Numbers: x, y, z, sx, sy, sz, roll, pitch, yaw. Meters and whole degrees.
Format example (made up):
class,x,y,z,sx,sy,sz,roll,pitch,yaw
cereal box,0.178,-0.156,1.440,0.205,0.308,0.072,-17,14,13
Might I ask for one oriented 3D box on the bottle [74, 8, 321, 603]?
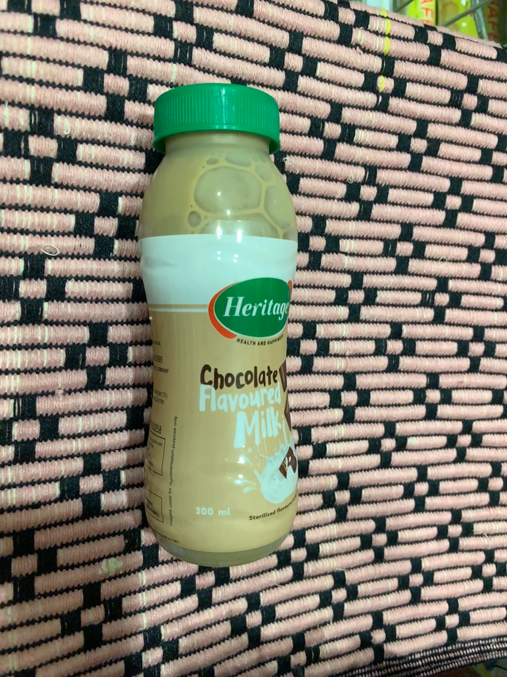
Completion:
class,x,y,z,sx,sy,sz,roll,pitch,yaw
bottle,-0.017,-0.008,0.160,0.050,0.050,0.140,-3,92,-38
